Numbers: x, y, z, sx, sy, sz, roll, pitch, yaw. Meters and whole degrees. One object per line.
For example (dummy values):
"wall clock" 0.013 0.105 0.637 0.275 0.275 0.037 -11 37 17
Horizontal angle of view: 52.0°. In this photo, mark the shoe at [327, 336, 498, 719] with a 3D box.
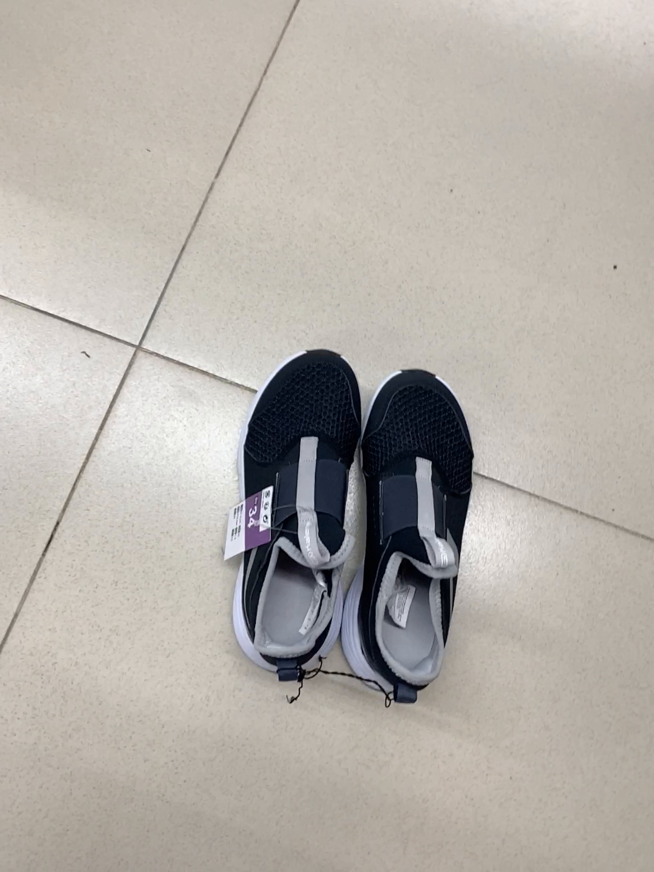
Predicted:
"shoe" 0.062 0.064 0.496 0.090 0.080 0.250 7 78 -2

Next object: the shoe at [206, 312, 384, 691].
"shoe" -0.021 0.046 0.497 0.090 0.080 0.250 7 78 -2
